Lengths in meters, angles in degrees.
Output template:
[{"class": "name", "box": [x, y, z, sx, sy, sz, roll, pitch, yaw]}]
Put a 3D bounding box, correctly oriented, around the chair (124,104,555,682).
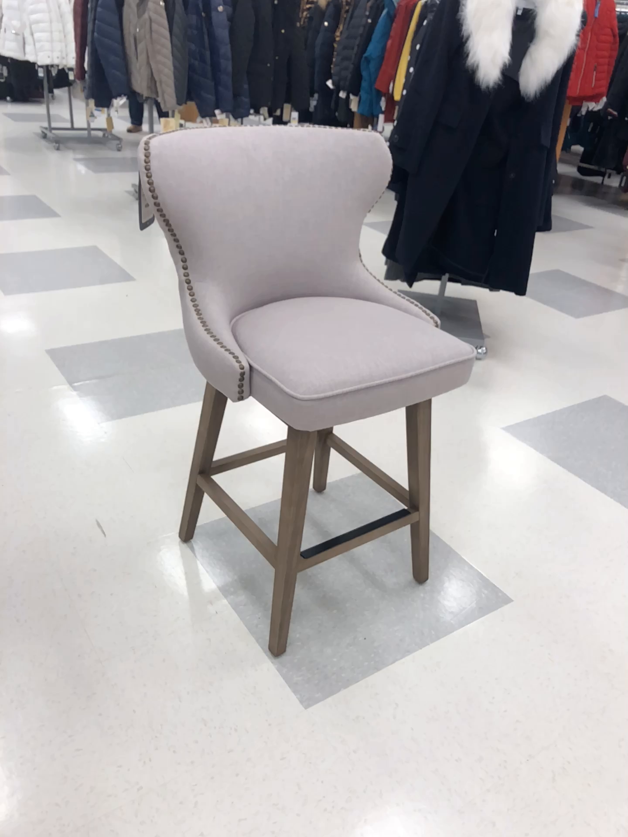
[{"class": "chair", "box": [0.003, -0.085, 1.468, 0.610, 0.999, 0.478, -16, 36, -34]}]
